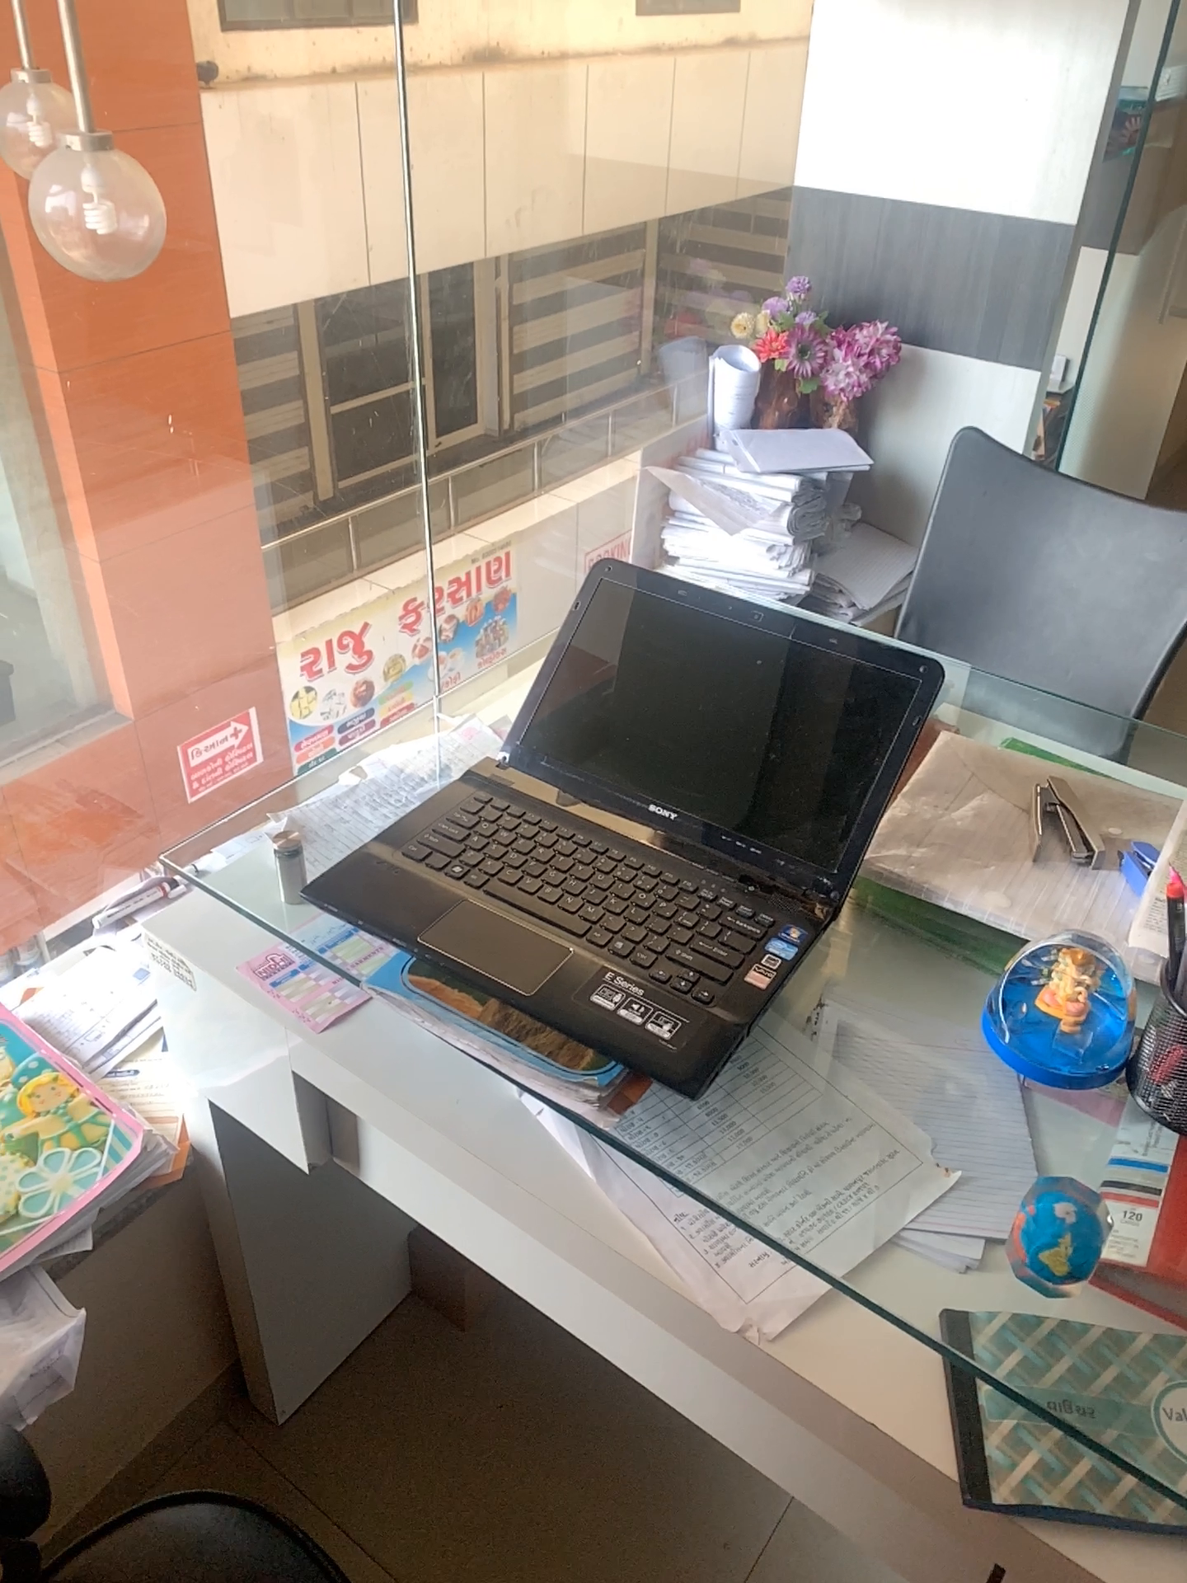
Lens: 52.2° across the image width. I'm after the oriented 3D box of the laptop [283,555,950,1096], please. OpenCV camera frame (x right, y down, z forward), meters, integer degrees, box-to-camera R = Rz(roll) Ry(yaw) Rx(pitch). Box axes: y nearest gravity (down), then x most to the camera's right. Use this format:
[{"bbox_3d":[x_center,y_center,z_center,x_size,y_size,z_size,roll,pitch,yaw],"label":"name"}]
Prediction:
[{"bbox_3d":[0.029,-0.012,0.787,0.286,0.111,0.337,22,38,25],"label":"laptop"}]
